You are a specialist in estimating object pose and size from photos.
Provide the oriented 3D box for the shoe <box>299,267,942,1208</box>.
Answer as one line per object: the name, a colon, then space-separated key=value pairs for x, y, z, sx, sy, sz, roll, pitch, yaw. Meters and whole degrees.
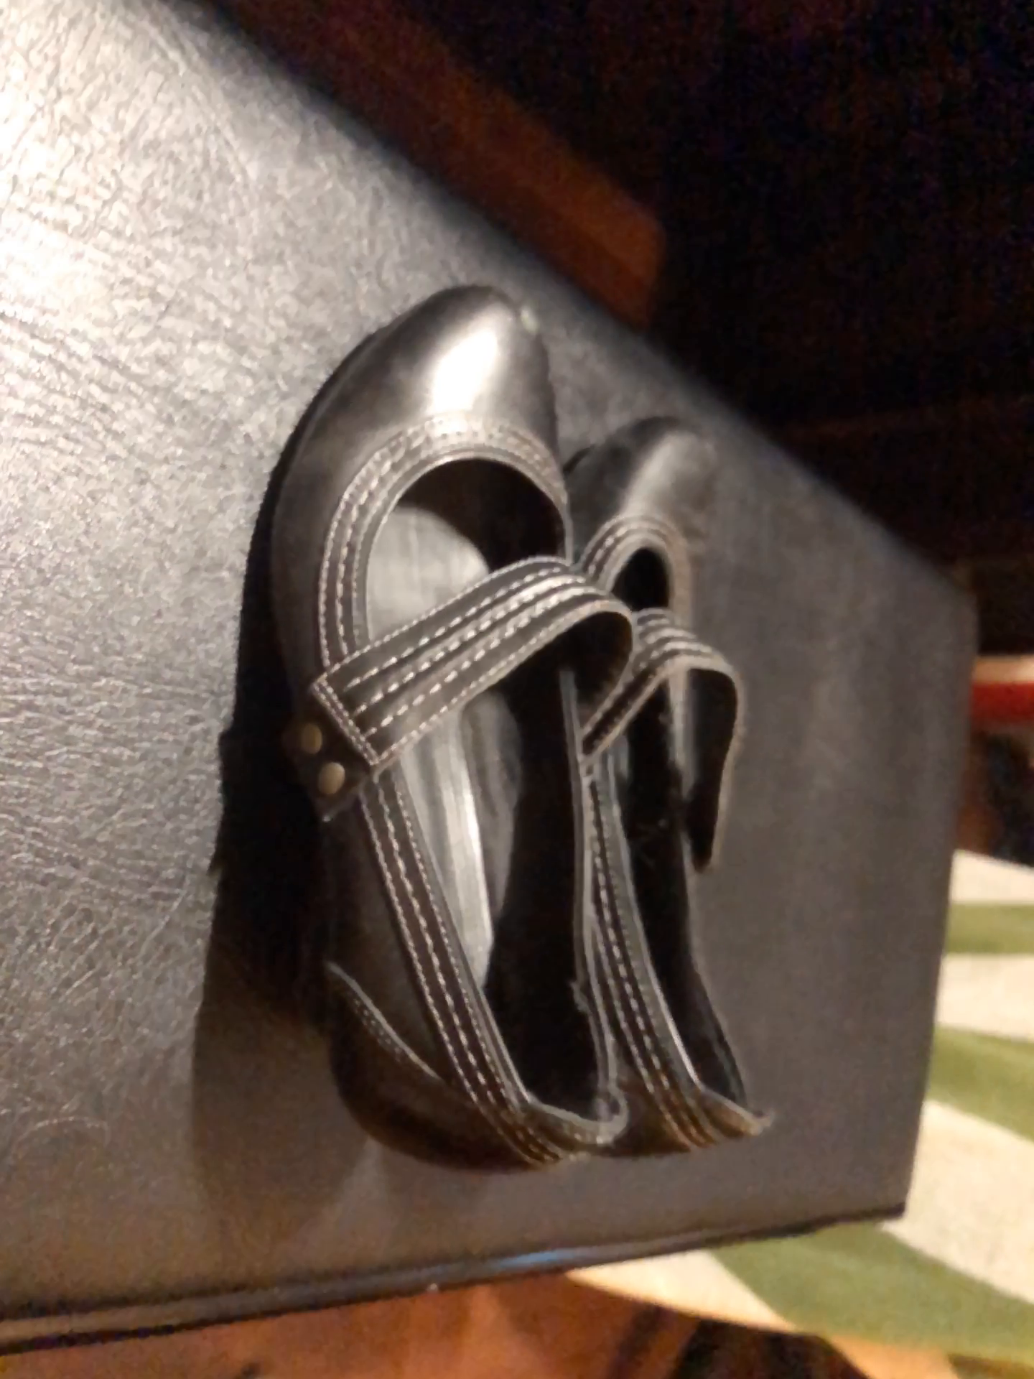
shoe: x=0.040 y=0.014 z=0.356 sx=0.100 sy=0.109 sz=0.240 roll=30 pitch=68 yaw=-42

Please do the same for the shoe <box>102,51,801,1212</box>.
shoe: x=-0.012 y=-0.010 z=0.303 sx=0.100 sy=0.109 sz=0.240 roll=18 pitch=76 yaw=-45
